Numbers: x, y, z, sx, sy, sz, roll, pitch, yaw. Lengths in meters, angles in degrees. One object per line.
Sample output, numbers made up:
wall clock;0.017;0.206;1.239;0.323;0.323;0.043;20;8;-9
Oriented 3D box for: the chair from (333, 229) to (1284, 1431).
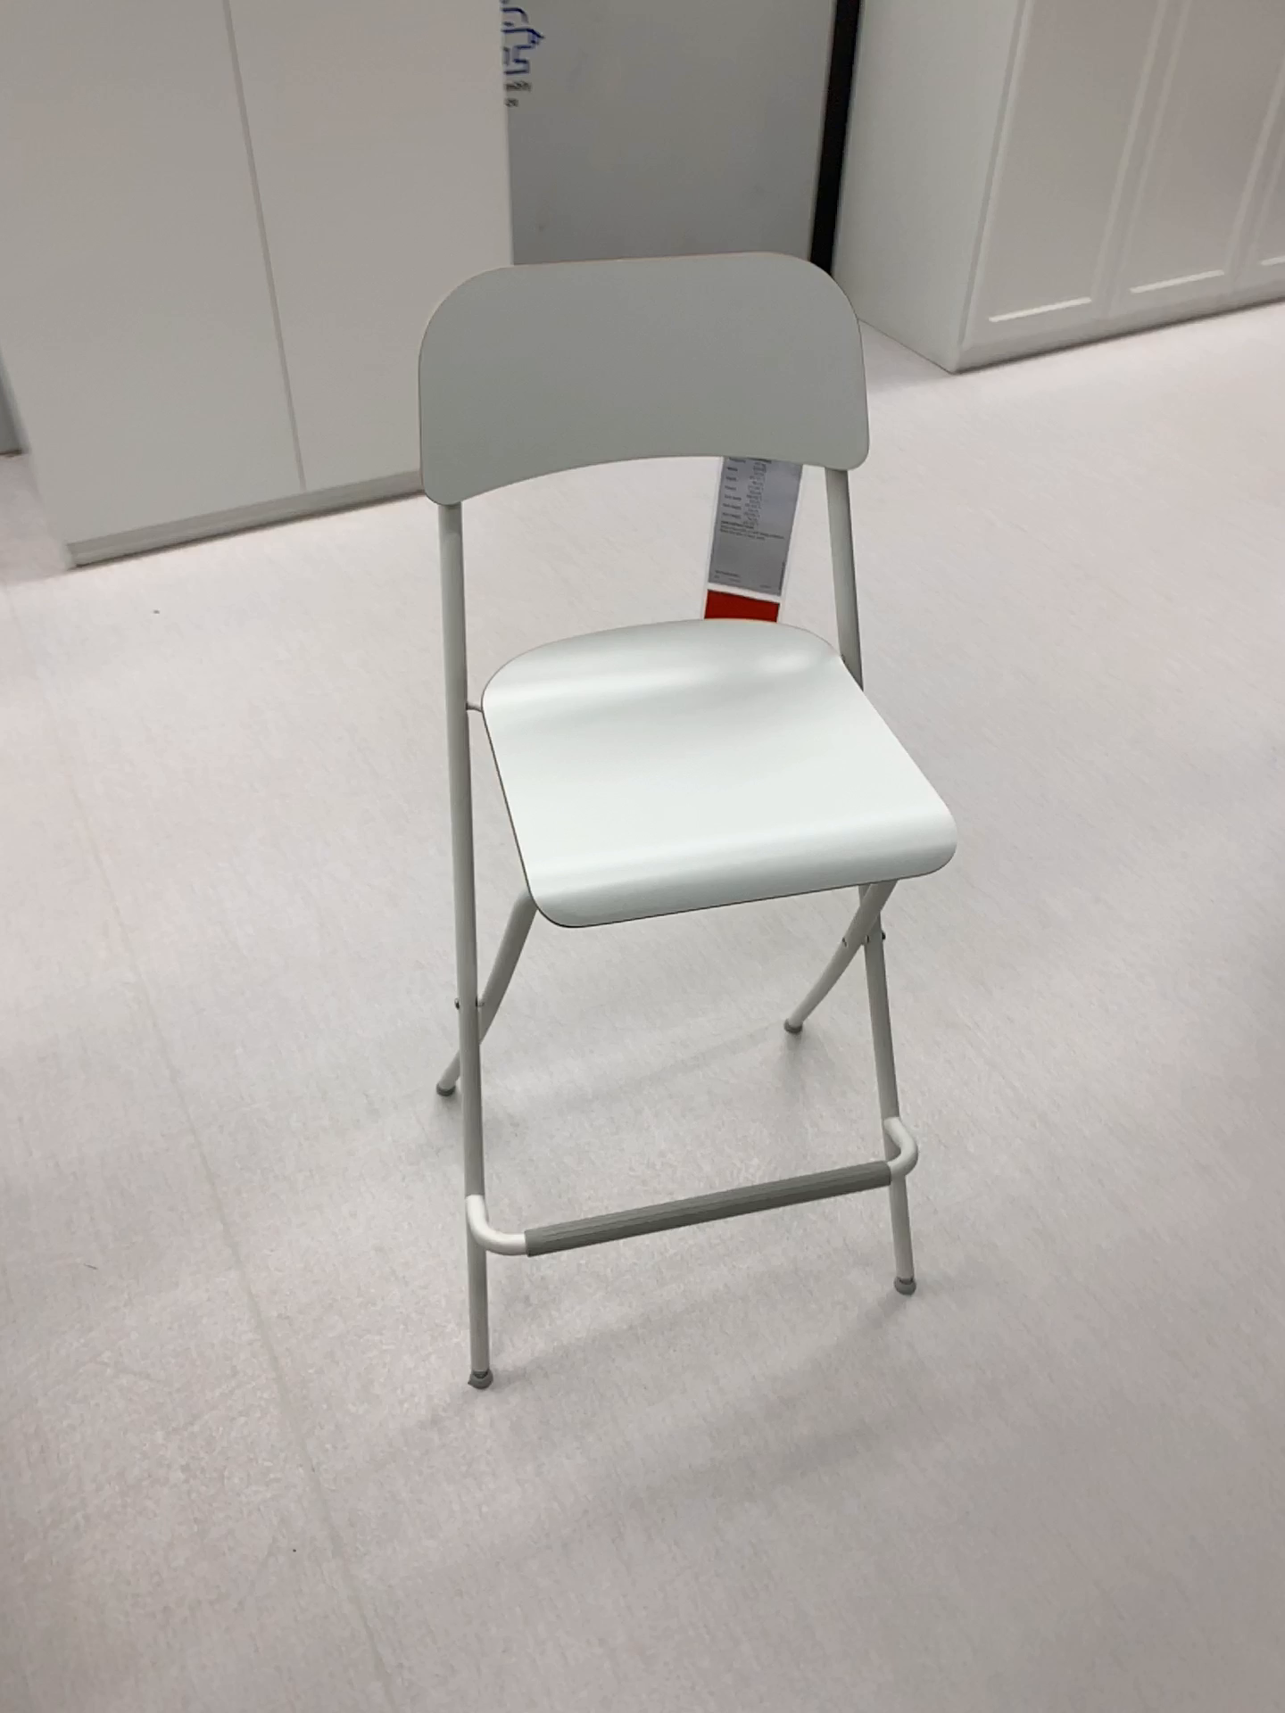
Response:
chair;0.055;0.017;1.190;0.520;0.936;0.502;-7;44;-11
